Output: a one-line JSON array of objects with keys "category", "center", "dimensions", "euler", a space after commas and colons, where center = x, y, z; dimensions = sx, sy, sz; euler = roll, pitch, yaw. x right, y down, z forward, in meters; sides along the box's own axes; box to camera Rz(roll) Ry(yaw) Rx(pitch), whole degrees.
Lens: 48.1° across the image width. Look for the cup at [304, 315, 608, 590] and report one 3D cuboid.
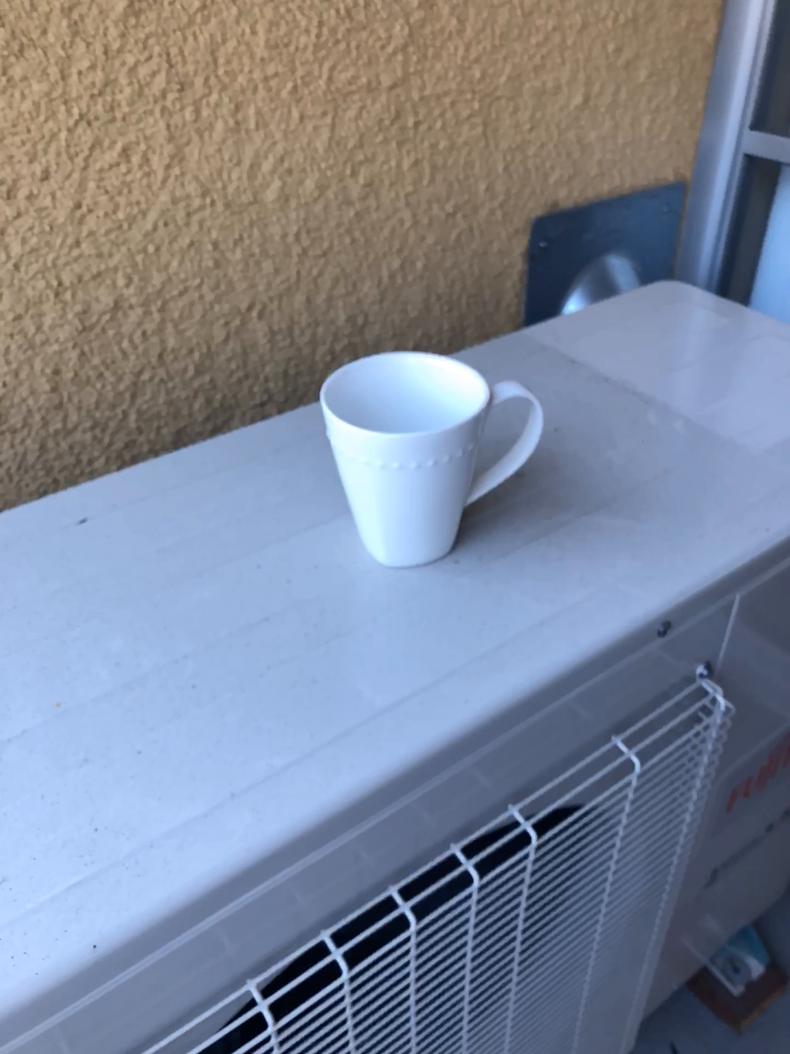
[{"category": "cup", "center": [0.032, -0.049, 0.527], "dimensions": [0.140, 0.100, 0.100], "euler": [-15, 38, -20]}]
